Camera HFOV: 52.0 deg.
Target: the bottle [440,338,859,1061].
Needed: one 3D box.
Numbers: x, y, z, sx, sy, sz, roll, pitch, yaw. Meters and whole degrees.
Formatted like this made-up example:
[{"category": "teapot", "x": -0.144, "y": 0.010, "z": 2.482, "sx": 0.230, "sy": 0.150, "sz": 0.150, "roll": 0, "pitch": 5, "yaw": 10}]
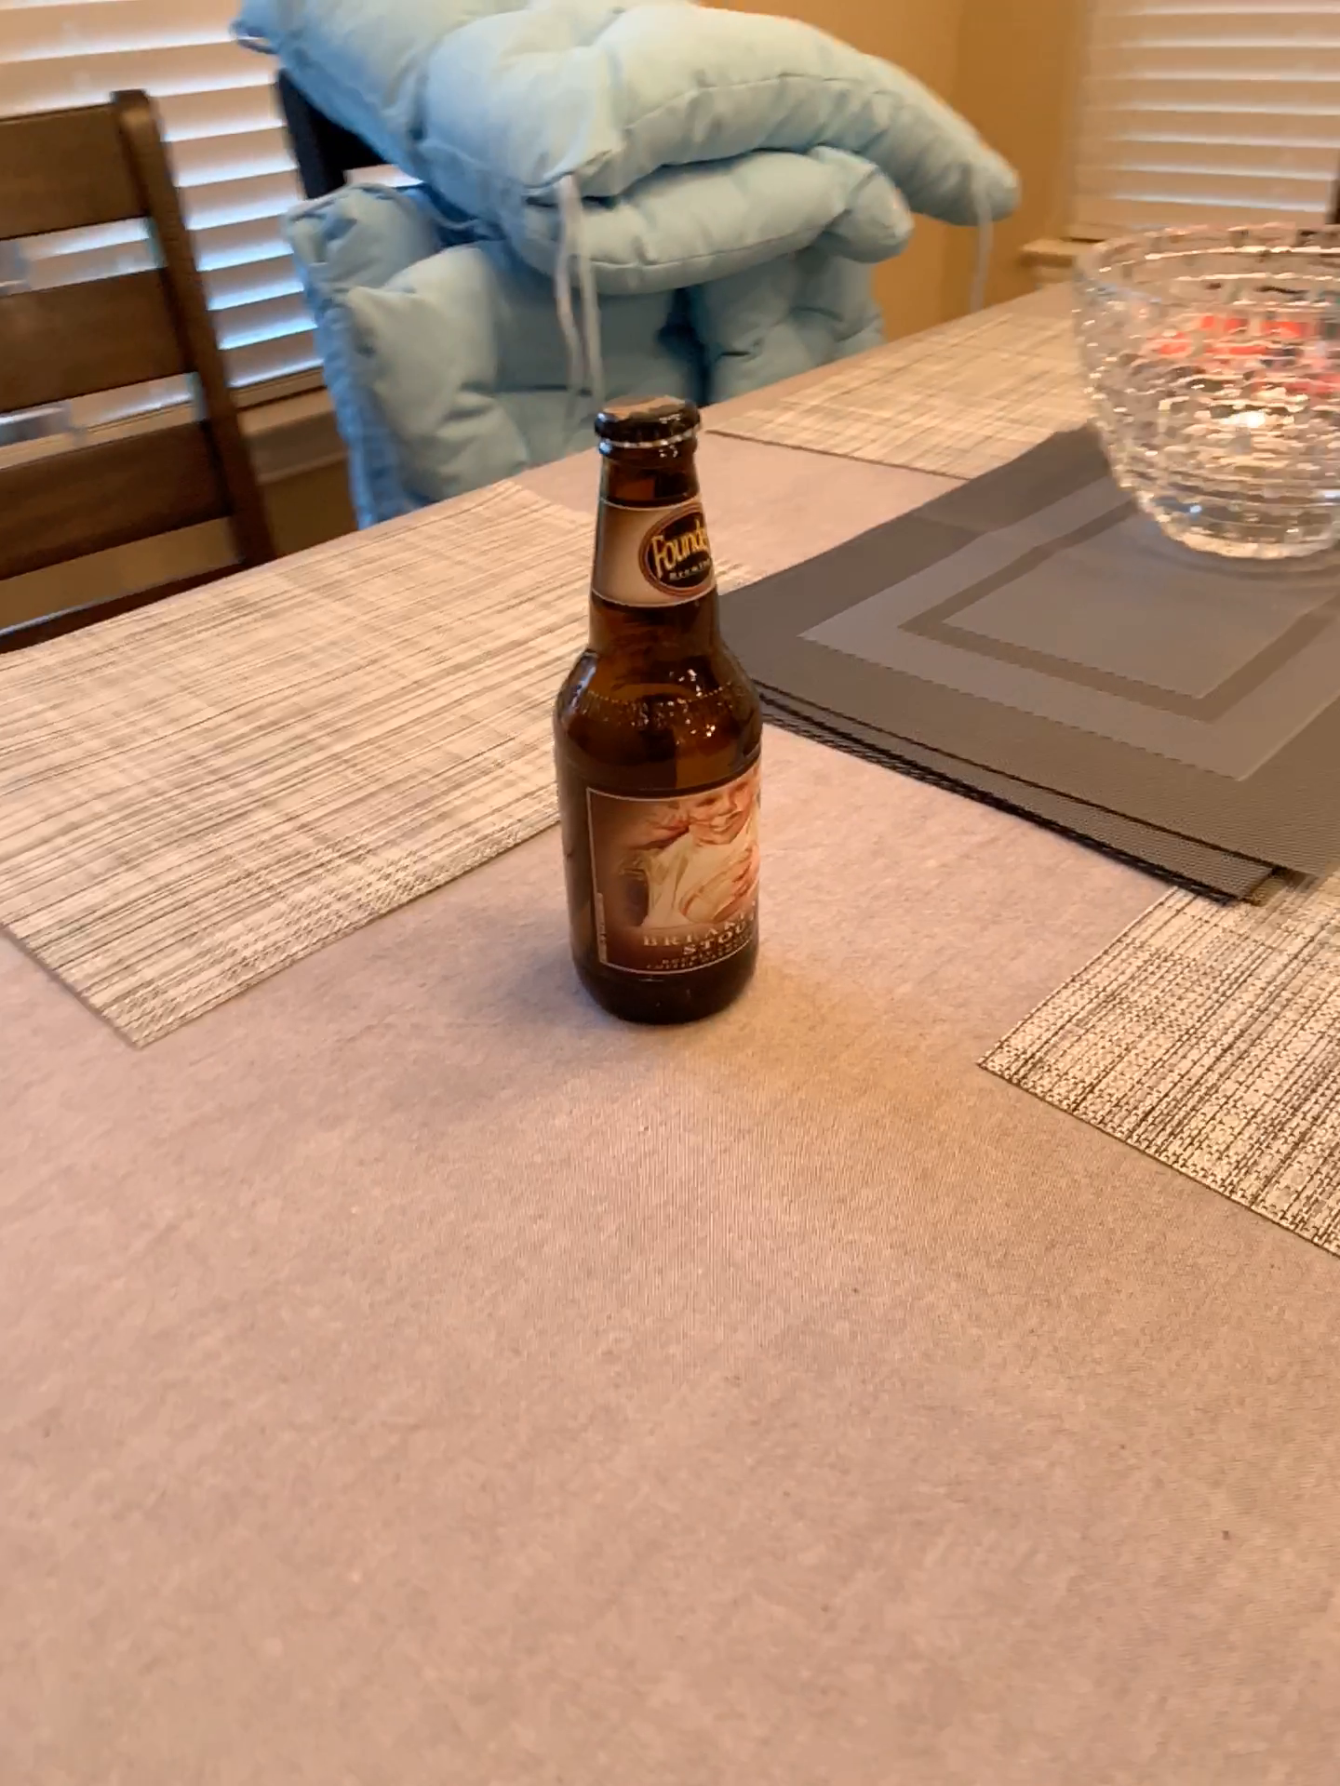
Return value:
[{"category": "bottle", "x": -0.003, "y": -0.058, "z": 0.422, "sx": 0.080, "sy": 0.189, "sz": 0.080, "roll": -2, "pitch": 34, "yaw": 1}]
